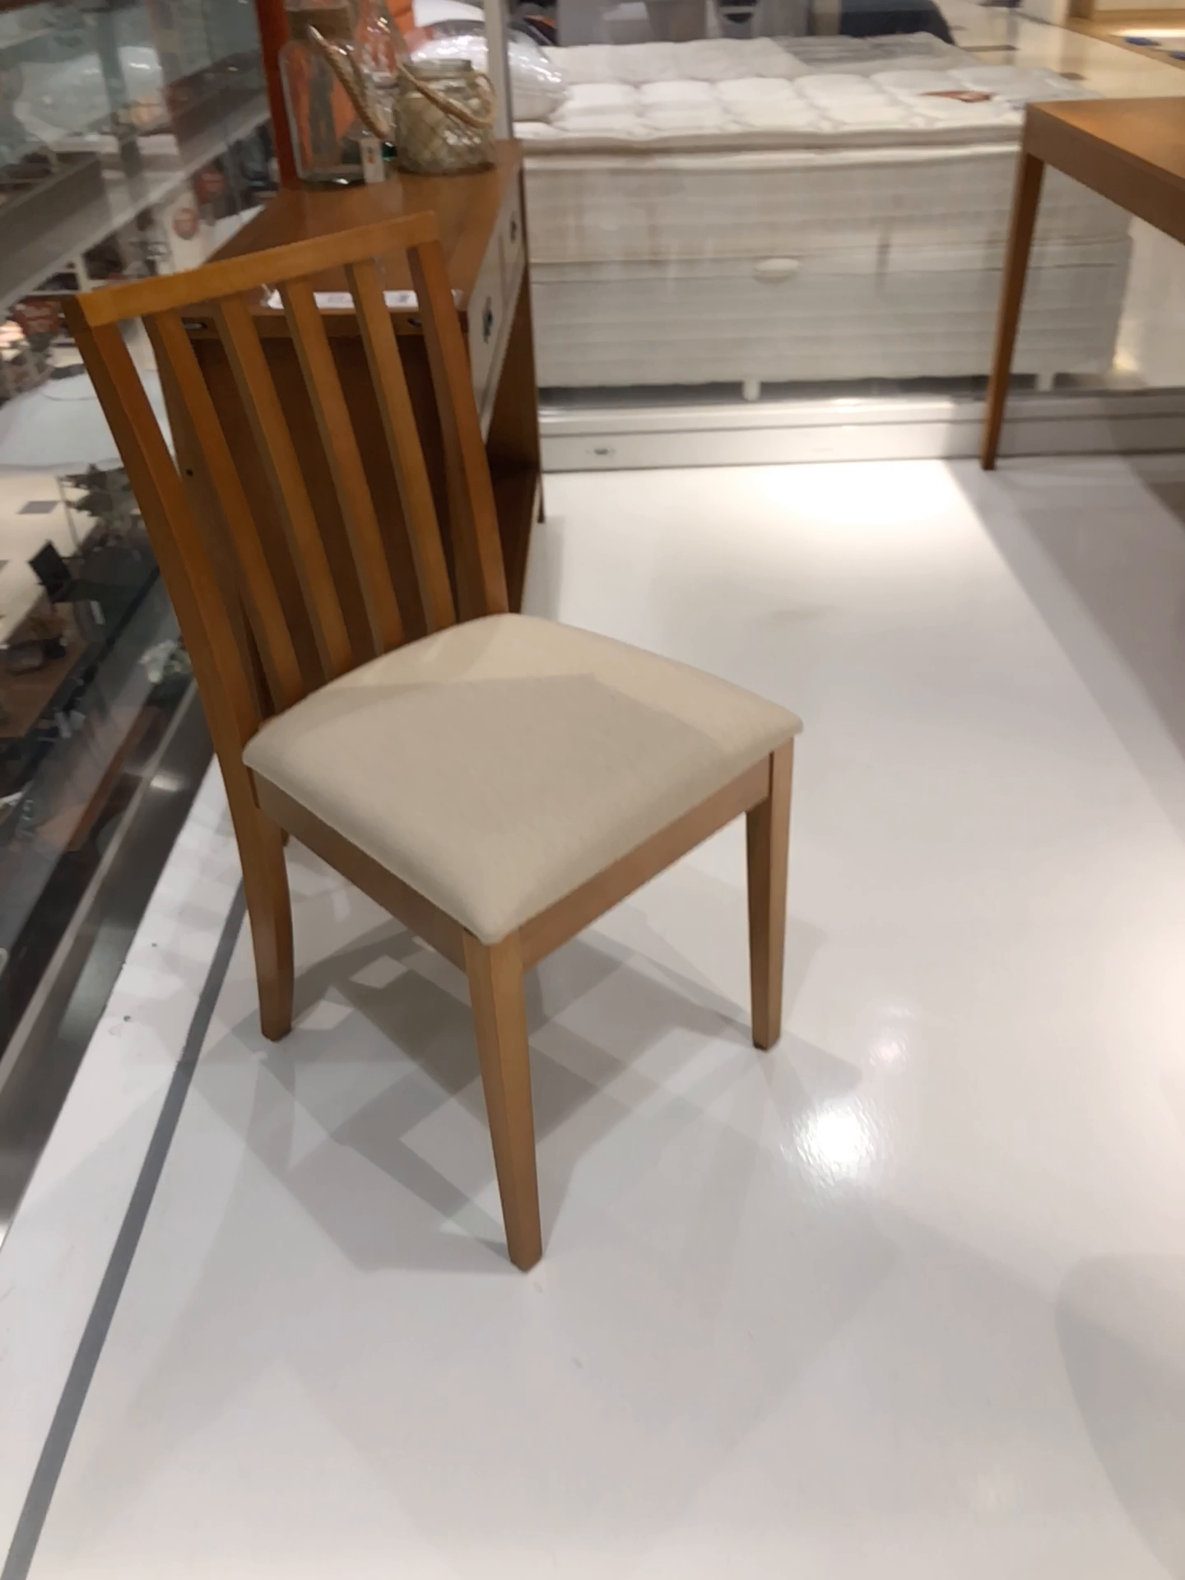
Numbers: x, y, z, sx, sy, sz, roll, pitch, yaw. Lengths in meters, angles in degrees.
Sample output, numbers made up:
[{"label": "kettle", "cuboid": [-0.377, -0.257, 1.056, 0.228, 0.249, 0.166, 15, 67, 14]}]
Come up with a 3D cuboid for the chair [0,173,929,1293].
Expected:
[{"label": "chair", "cuboid": [-0.093, -0.093, 1.305, 0.551, 0.834, 0.543, 25, 43, 34]}]
